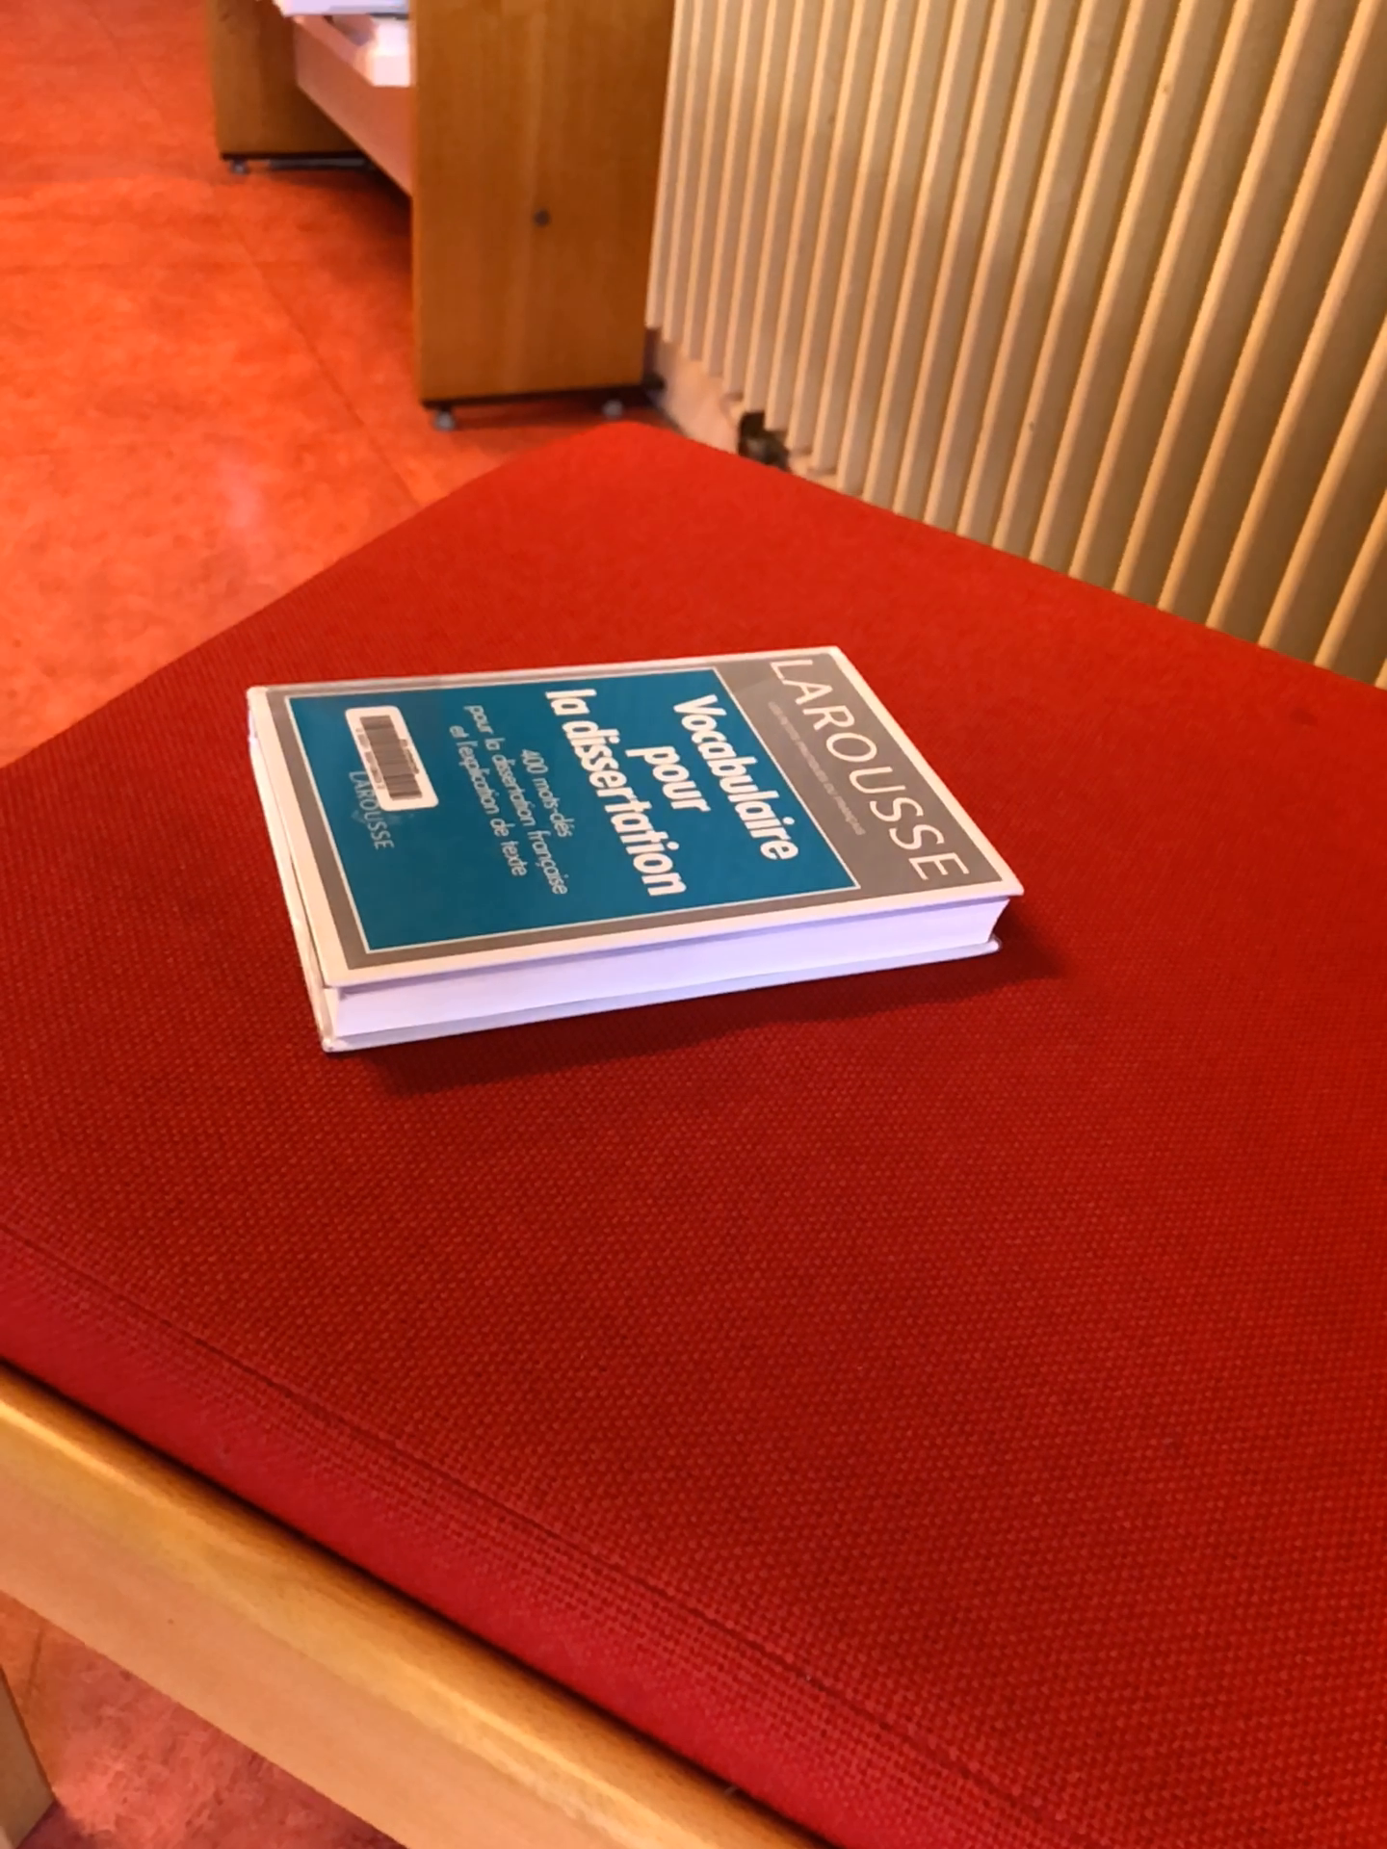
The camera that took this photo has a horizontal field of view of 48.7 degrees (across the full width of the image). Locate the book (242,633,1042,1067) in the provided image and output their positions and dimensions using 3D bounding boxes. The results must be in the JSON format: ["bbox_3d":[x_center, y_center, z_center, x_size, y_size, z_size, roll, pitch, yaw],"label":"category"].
[{"bbox_3d":[-0.020,-0.032,0.450,0.199,0.030,0.137,-8,42,-20],"label":"book"}]
